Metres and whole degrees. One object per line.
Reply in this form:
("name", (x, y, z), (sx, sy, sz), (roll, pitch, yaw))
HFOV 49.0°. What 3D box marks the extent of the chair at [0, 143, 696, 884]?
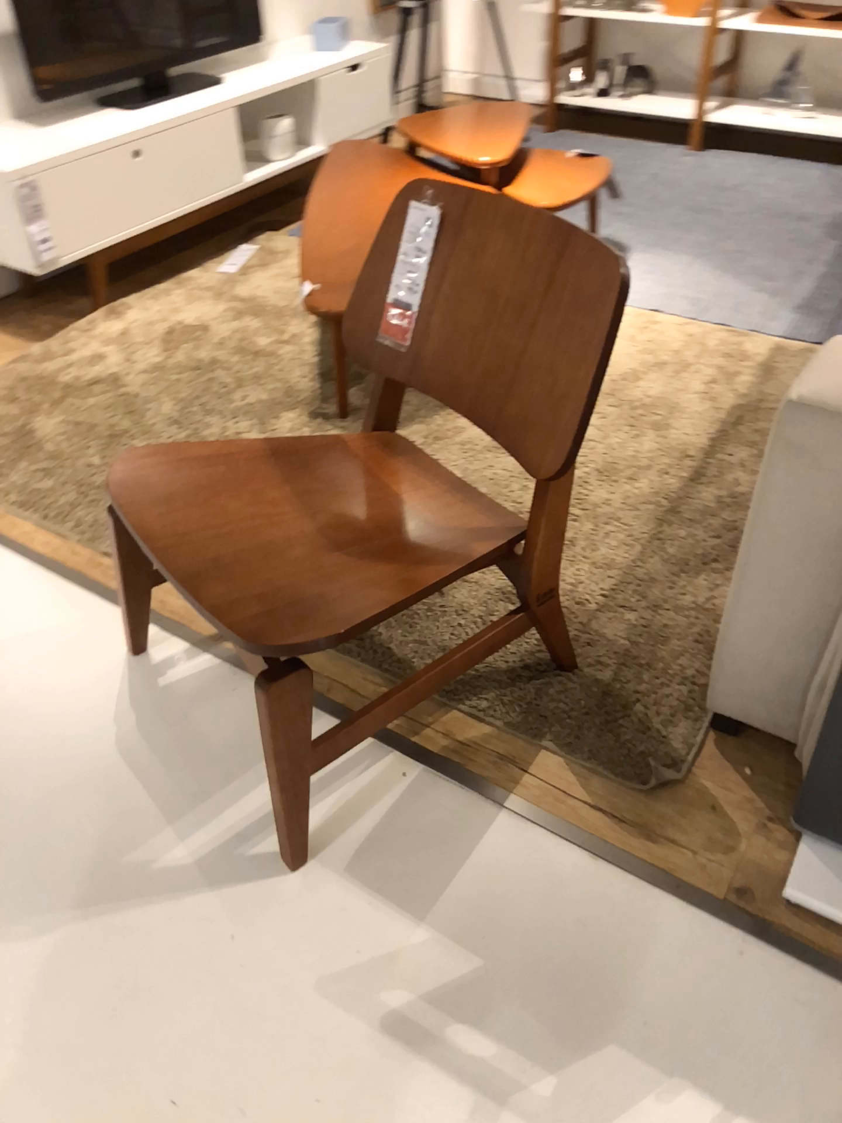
("chair", (-0.104, -0.114, 1.294), (0.632, 0.655, 0.583), (-26, 45, -27))
